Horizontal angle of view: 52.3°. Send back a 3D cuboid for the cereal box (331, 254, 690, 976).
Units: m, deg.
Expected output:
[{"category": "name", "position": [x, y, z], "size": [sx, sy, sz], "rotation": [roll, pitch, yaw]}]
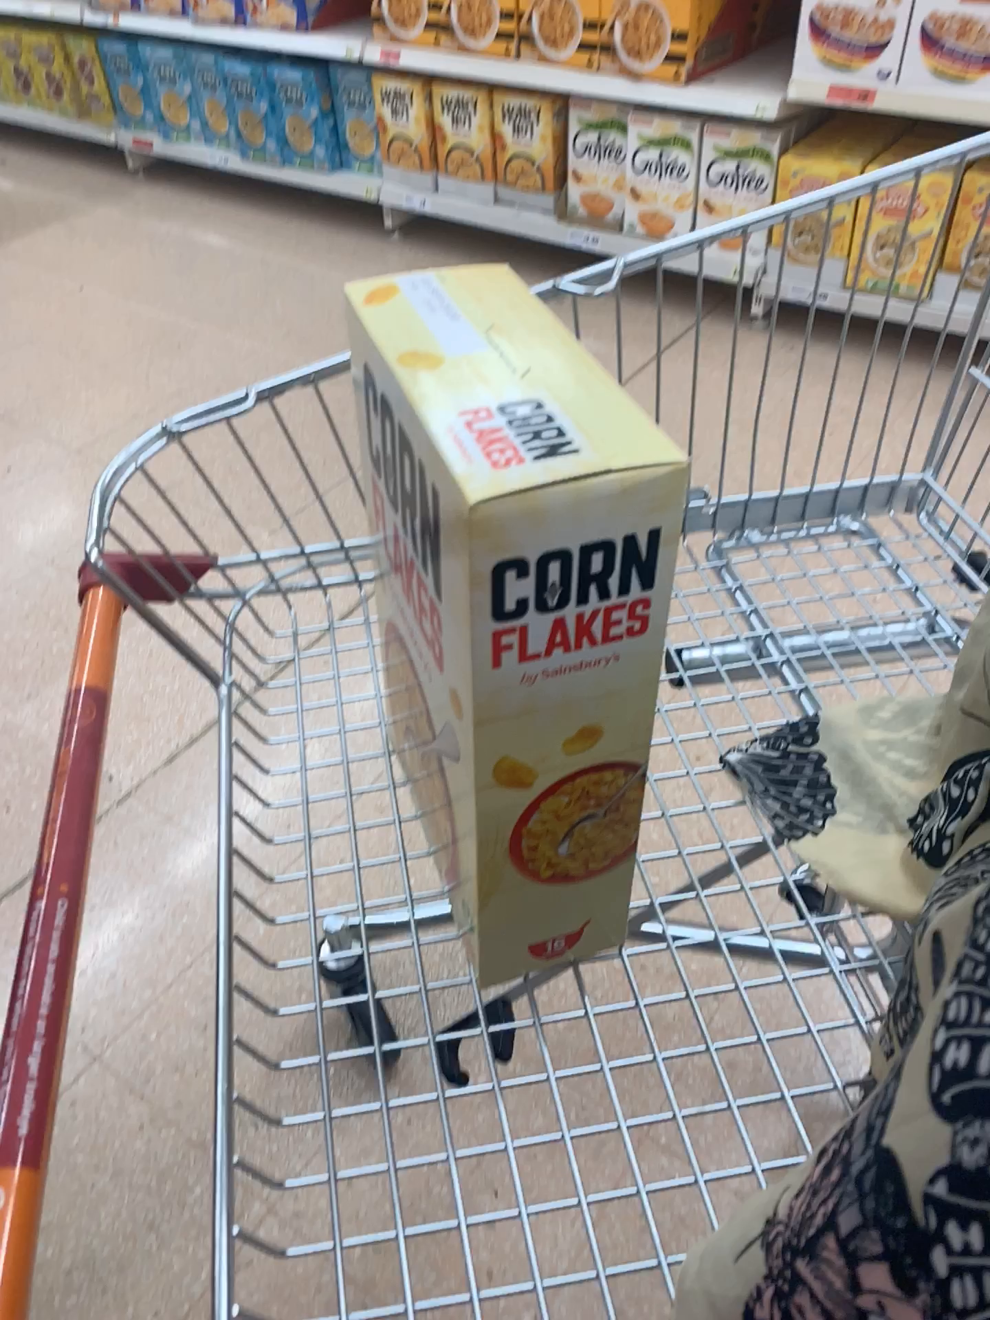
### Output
[{"category": "cereal box", "position": [-0.002, -0.016, 0.485], "size": [0.080, 0.277, 0.192], "rotation": [-13, 43, -14]}]
